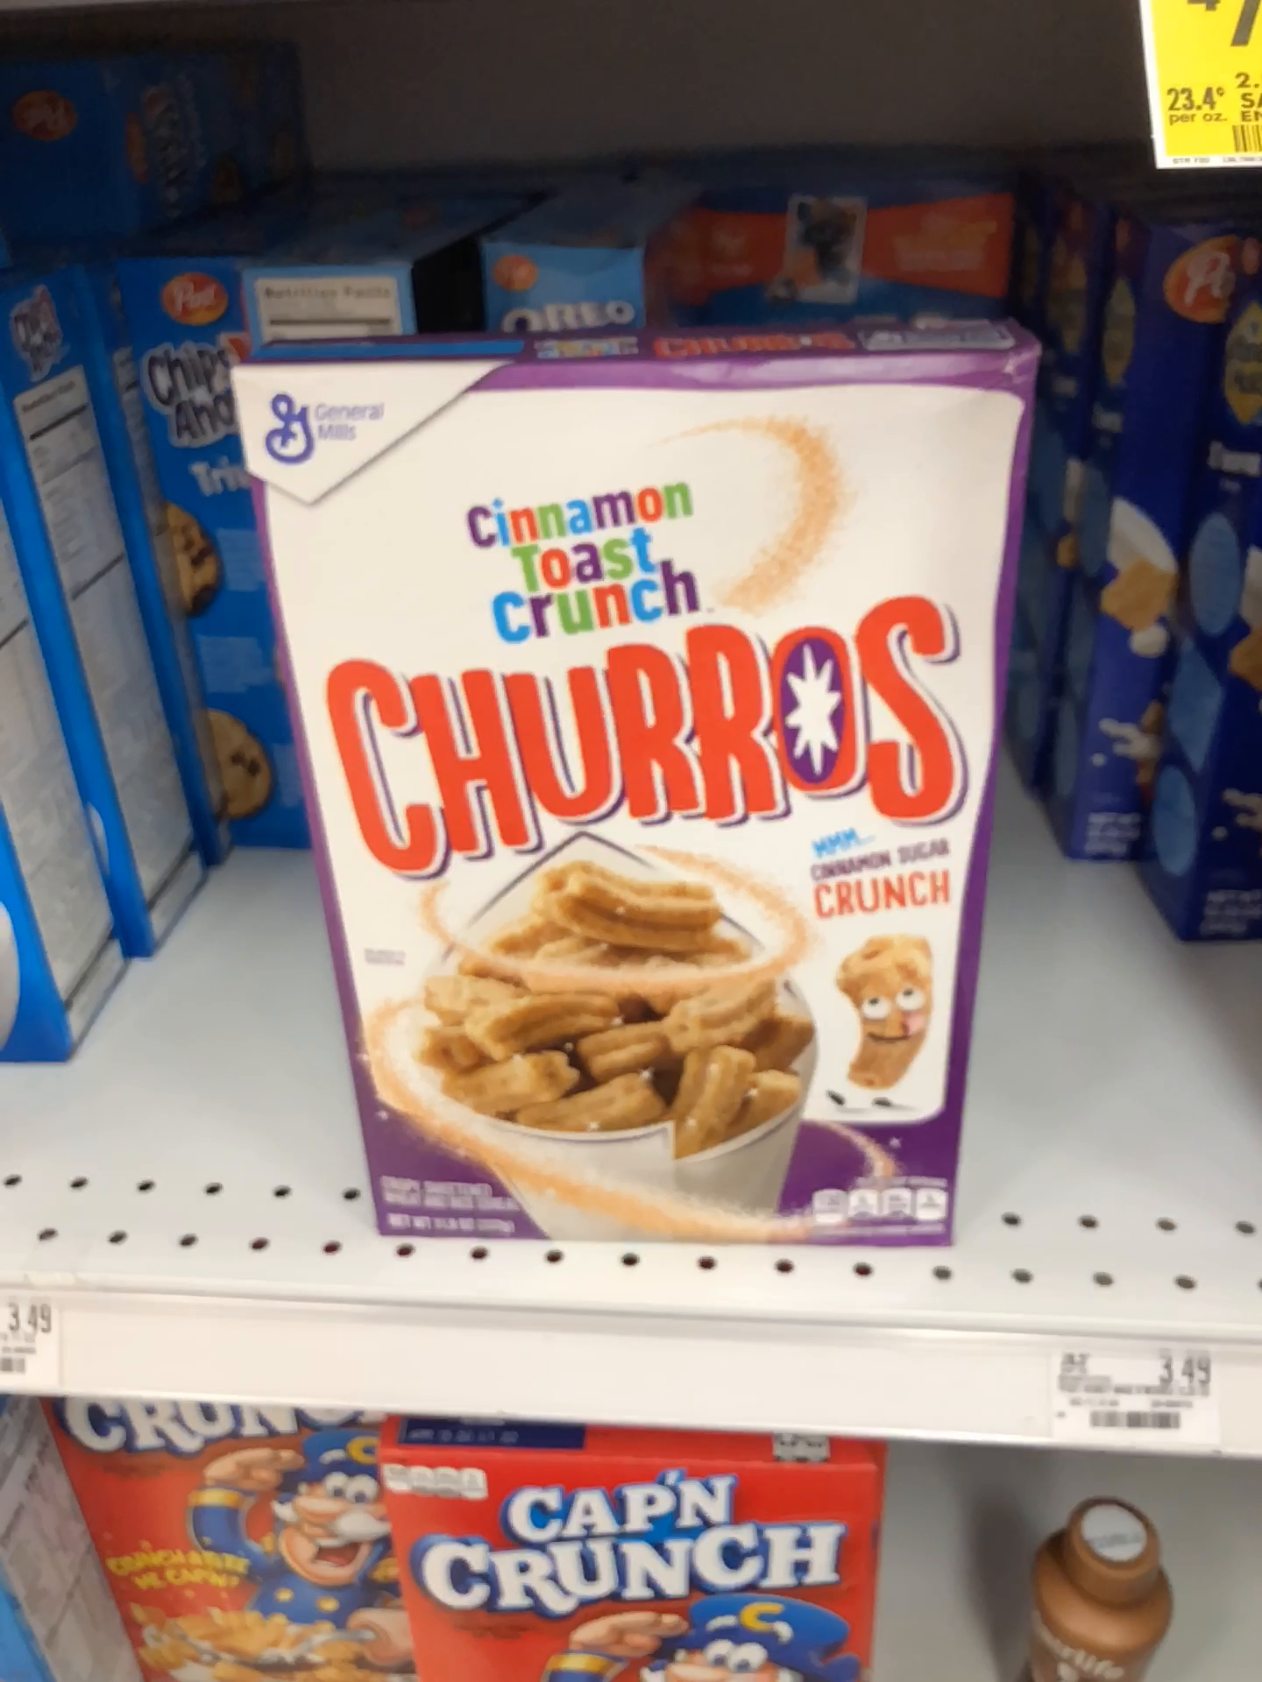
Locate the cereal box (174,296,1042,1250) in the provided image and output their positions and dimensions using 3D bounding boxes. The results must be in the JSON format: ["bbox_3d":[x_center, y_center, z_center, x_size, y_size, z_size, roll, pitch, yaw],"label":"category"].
[{"bbox_3d":[0.000,-0.005,0.420,0.200,0.279,0.060,0,30,5],"label":"cereal box"}]
